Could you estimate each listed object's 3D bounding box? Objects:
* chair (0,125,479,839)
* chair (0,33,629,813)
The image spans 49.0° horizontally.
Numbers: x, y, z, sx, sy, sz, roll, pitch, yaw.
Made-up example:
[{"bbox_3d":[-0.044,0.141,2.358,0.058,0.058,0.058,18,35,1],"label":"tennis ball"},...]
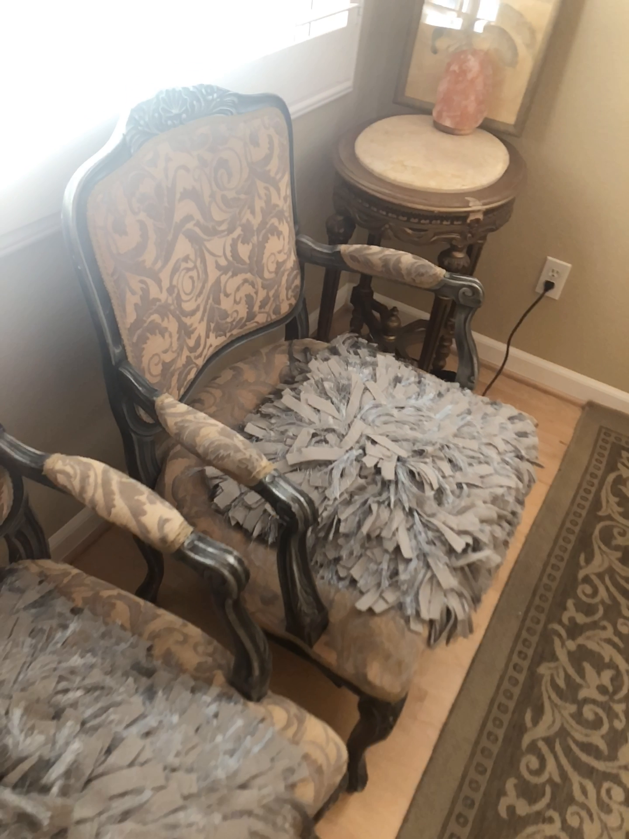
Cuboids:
[{"bbox_3d":[-0.387,0.368,0.671,0.601,0.952,0.695,31,47,23],"label":"chair"},{"bbox_3d":[-0.010,-0.043,1.199,0.780,0.853,0.746,25,45,18],"label":"chair"}]
